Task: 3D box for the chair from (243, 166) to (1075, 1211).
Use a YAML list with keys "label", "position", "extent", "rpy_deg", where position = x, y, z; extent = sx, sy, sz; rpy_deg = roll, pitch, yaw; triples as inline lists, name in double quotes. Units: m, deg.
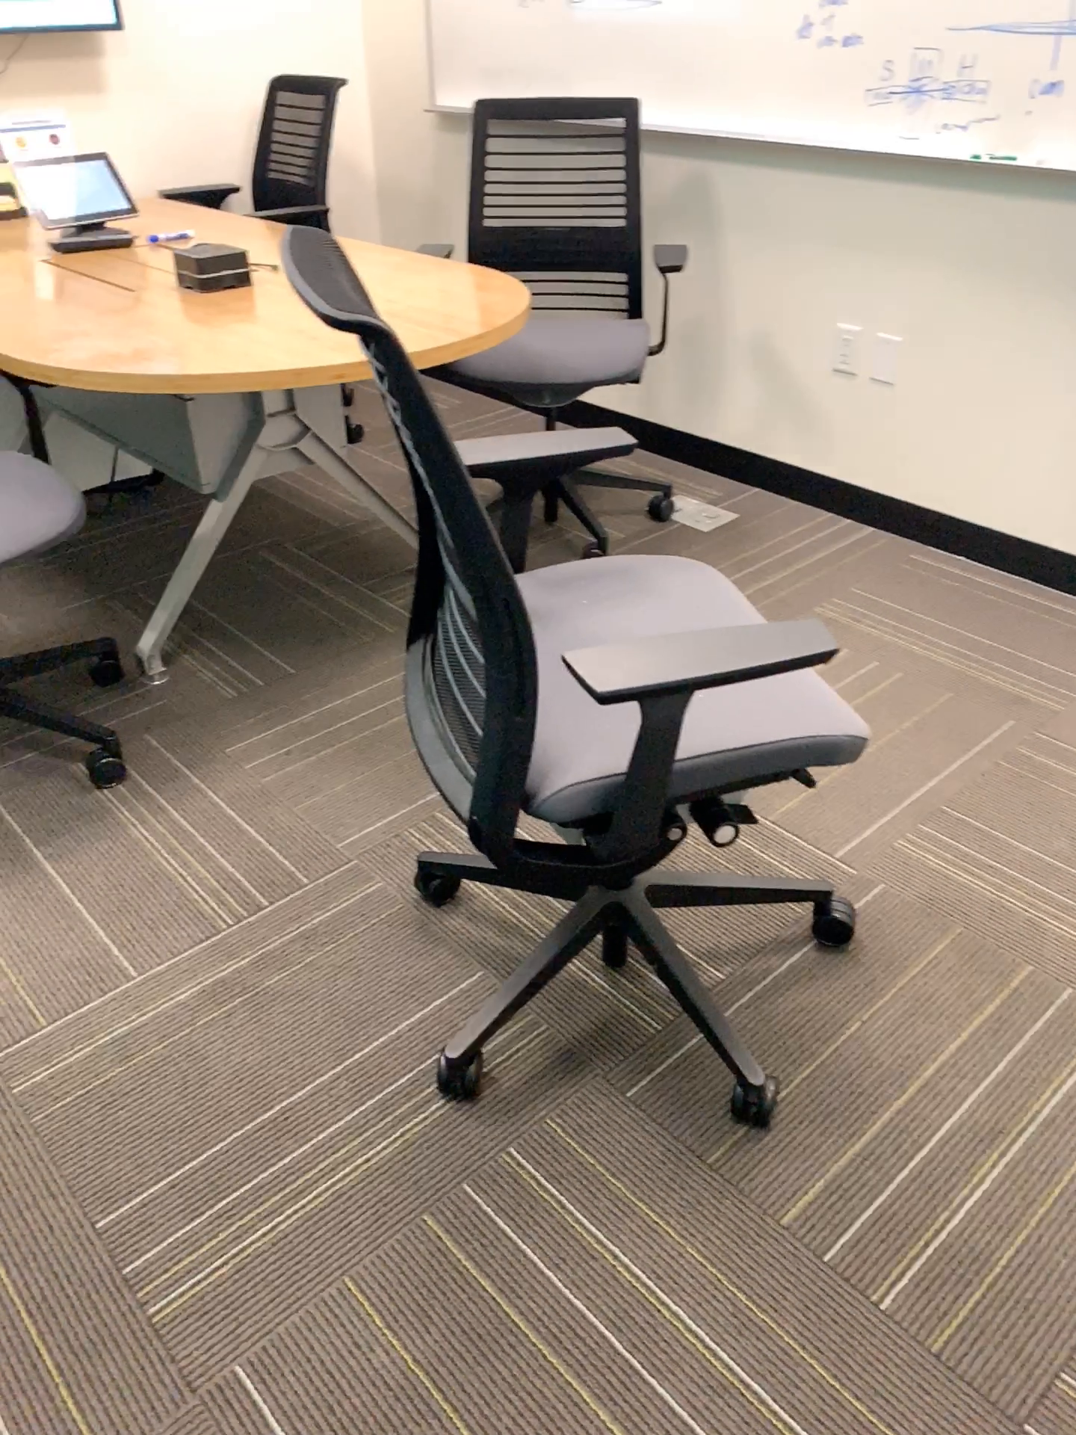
- label: "chair"
  position: [0.079, -0.064, 1.345]
  extent: [0.690, 0.994, 0.654]
  rpy_deg: [-8, 34, -11]
